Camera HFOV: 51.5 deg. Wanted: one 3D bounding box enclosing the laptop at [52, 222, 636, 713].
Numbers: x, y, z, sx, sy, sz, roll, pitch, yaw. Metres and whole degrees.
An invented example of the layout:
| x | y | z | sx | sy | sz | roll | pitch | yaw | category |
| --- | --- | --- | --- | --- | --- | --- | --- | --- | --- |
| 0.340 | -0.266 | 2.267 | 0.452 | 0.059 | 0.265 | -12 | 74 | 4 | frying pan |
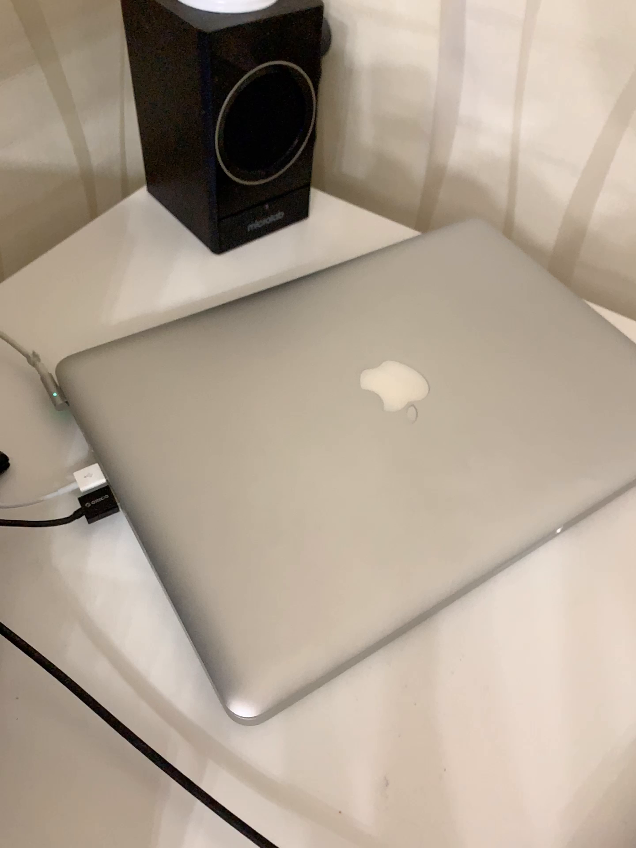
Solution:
| x | y | z | sx | sy | sz | roll | pitch | yaw | category |
| --- | --- | --- | --- | --- | --- | --- | --- | --- | --- |
| 0.038 | -0.014 | 0.376 | 0.305 | 0.011 | 0.207 | -24 | 59 | -22 | laptop |
